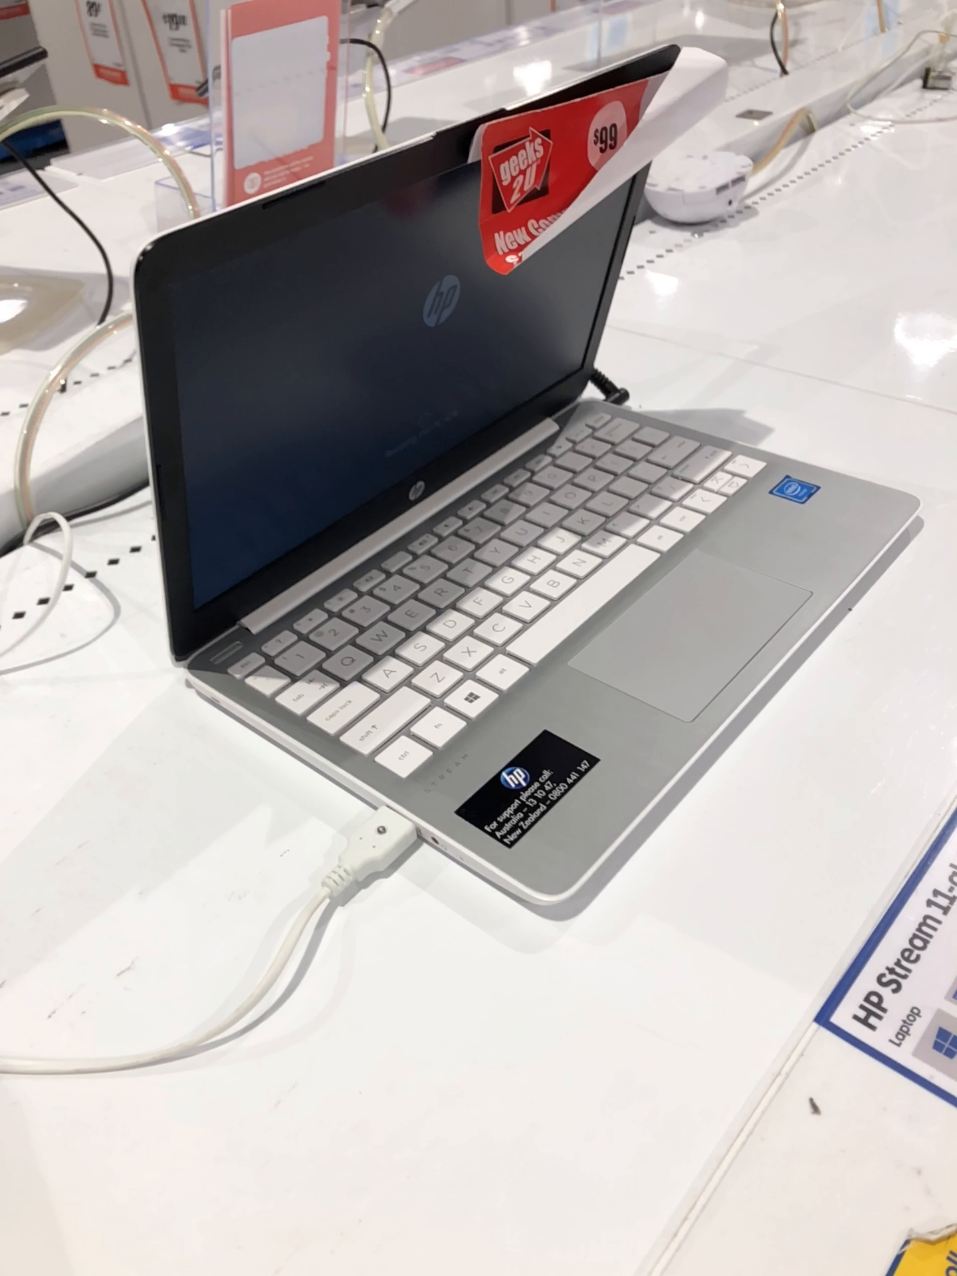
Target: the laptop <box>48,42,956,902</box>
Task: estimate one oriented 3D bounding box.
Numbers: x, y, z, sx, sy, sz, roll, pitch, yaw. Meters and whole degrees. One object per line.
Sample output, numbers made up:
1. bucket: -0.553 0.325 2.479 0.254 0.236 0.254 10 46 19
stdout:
1. laptop: 0.035 -0.092 0.395 0.183 0.173 0.273 25 47 31
